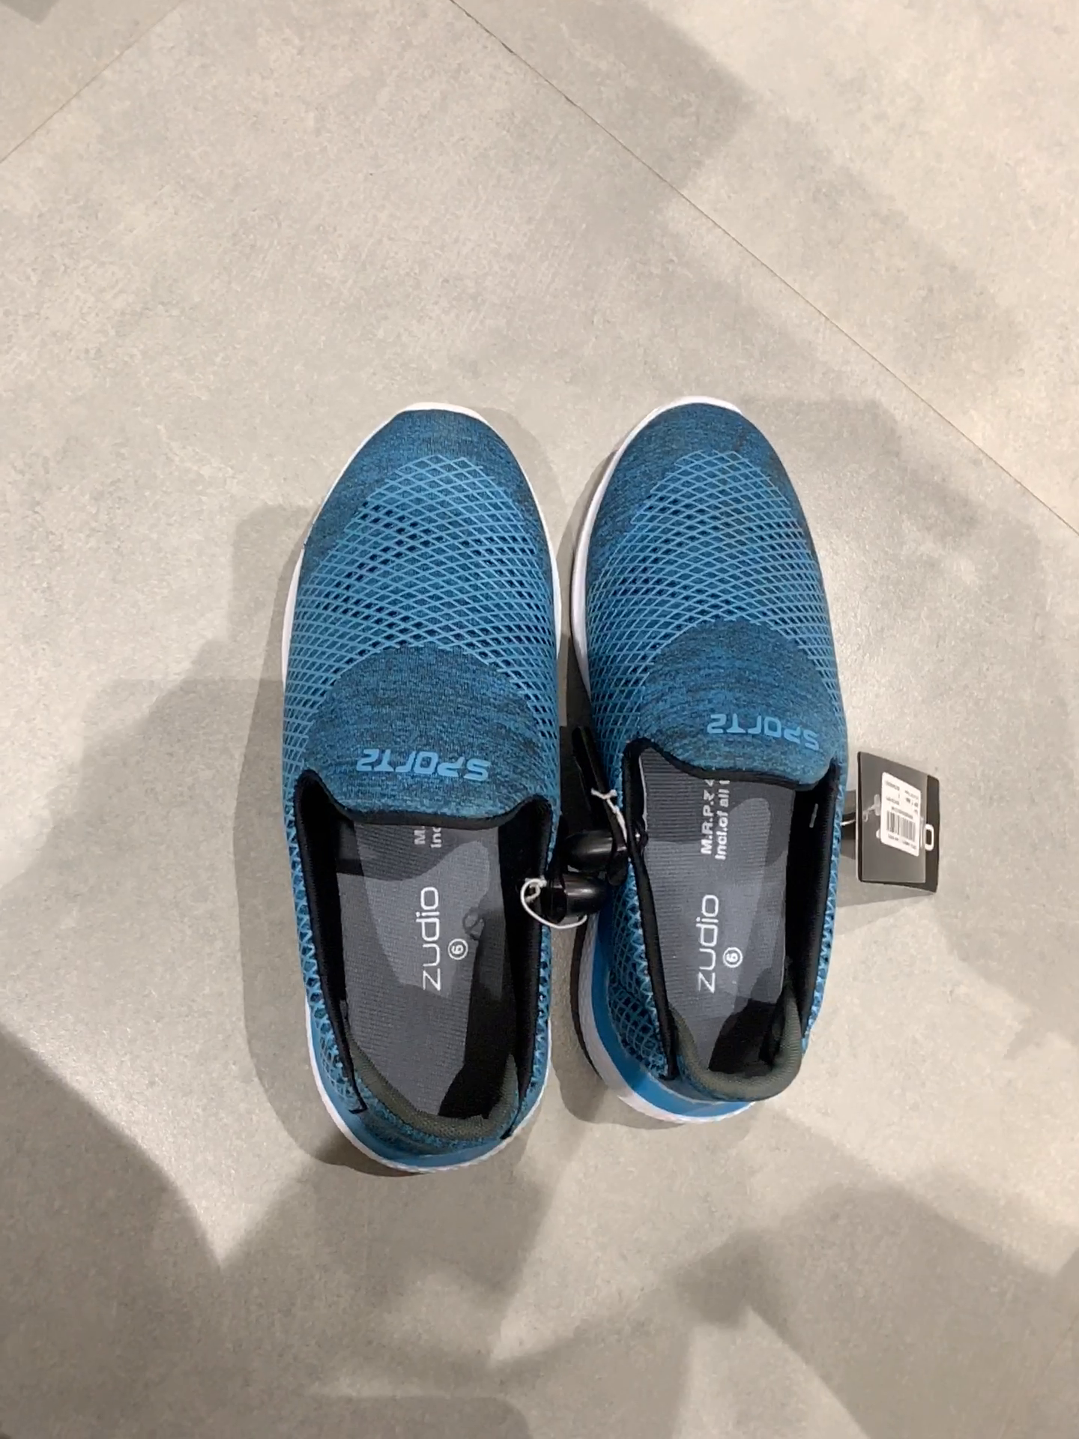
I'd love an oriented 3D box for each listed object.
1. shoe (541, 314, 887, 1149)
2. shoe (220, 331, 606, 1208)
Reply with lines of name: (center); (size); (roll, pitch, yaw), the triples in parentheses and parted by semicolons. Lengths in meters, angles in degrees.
shoe: (0.057, 0.005, 0.375); (0.090, 0.080, 0.250); (4, 81, -8)
shoe: (-0.044, 0.013, 0.374); (0.110, 0.080, 0.260); (0, 82, -9)
